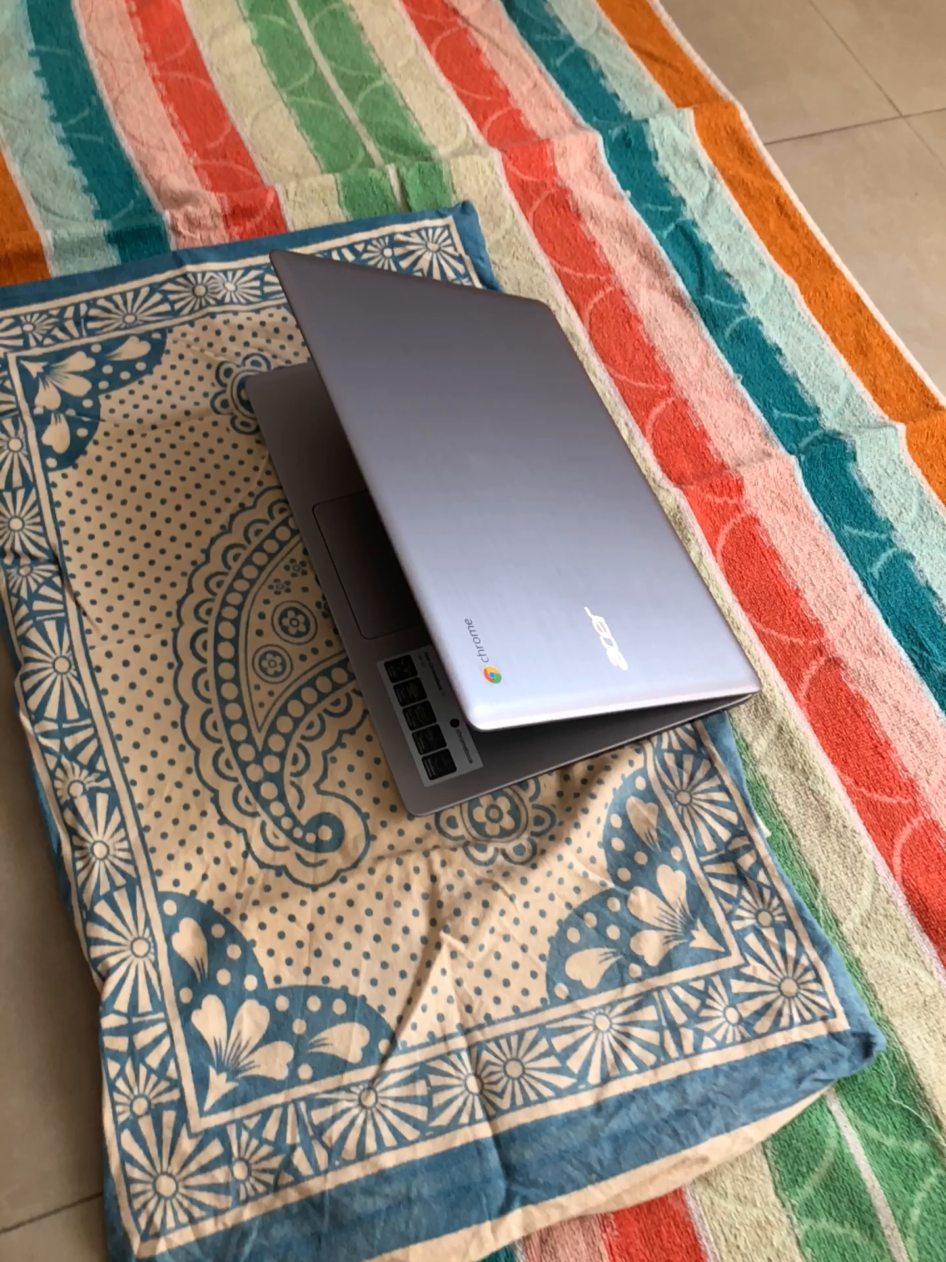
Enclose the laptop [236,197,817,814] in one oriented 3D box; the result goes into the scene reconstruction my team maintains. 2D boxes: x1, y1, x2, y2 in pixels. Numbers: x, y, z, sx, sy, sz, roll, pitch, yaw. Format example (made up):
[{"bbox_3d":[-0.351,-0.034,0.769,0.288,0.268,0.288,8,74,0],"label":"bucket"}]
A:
[{"bbox_3d":[0.014,-0.089,0.628,0.222,0.105,0.320,-17,65,-13],"label":"laptop"}]
